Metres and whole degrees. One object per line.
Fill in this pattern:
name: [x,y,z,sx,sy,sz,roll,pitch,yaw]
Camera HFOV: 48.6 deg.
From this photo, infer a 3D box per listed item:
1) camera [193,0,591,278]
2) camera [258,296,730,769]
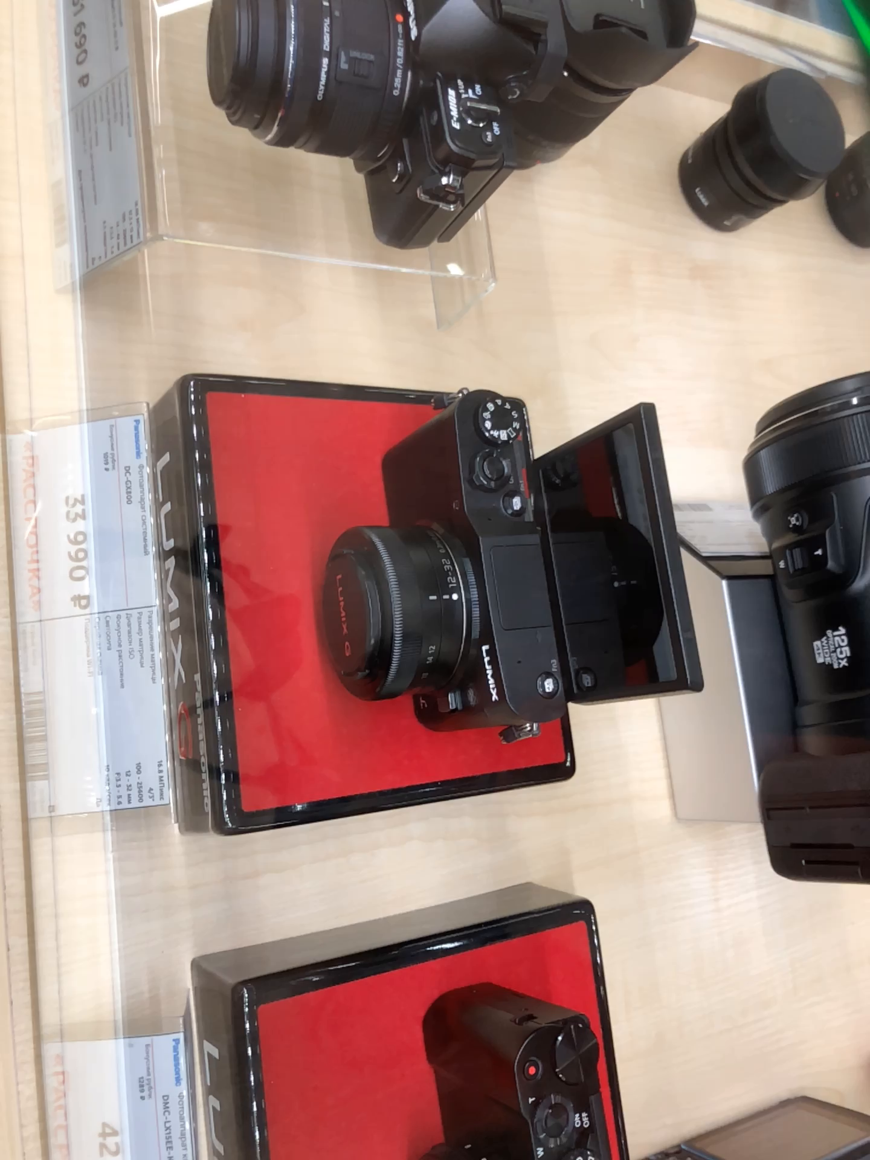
camera: [-0.019,-0.180,0.334,0.103,0.080,0.108,-2,80,-29]
camera: [0.007,-0.005,0.287,0.070,0.120,0.108,-6,82,-29]
